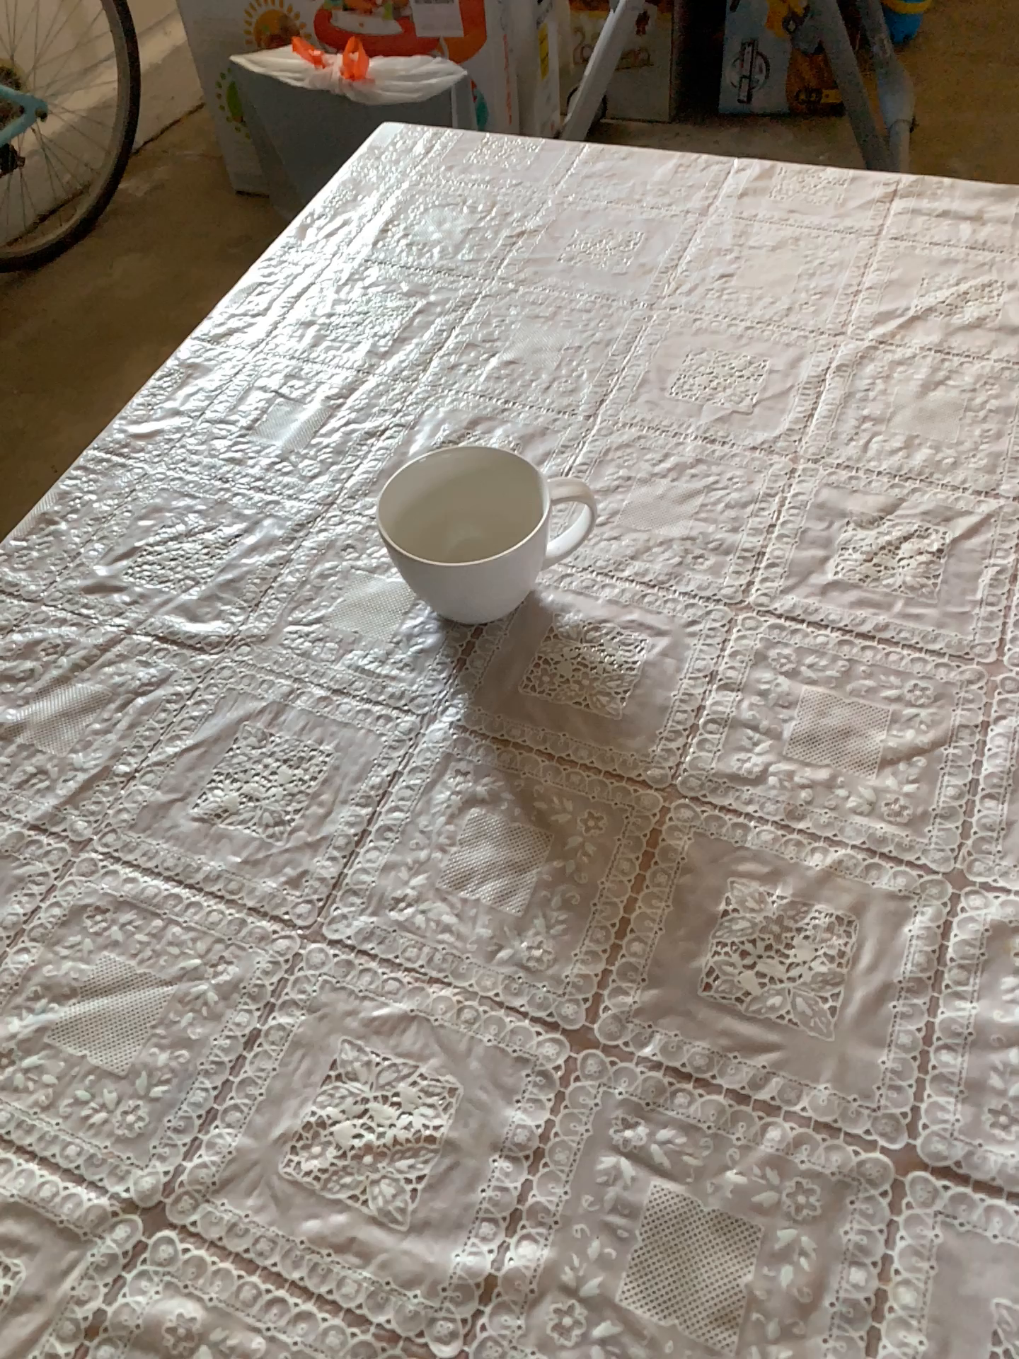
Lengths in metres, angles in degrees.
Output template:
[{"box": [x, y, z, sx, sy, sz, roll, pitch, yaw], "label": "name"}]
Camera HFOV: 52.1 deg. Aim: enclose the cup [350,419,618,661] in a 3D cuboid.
[{"box": [-0.016, -0.087, 0.642, 0.140, 0.070, 0.100, -14, 53, -5], "label": "cup"}]
